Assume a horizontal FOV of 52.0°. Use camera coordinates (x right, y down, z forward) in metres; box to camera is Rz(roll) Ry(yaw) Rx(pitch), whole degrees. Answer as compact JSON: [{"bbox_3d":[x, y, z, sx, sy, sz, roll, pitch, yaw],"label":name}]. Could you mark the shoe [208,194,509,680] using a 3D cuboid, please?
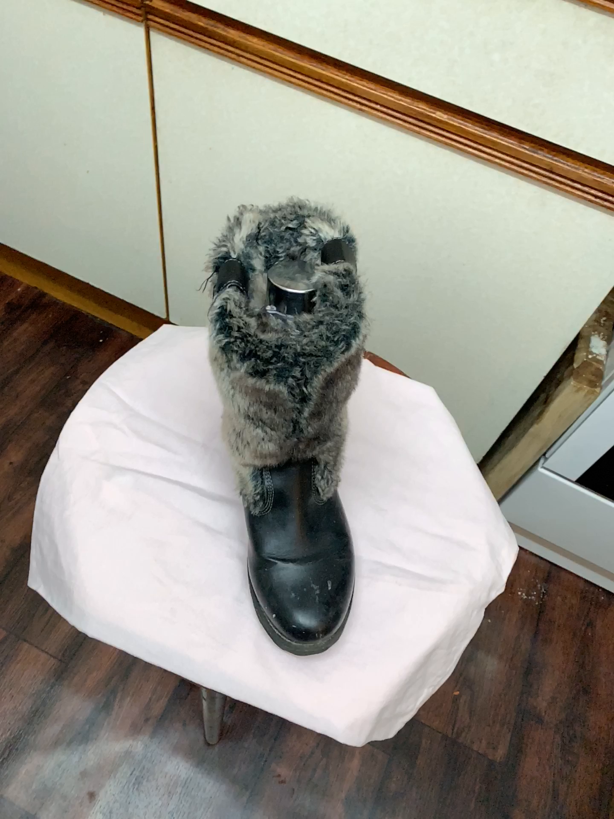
[{"bbox_3d":[0.001,0.026,0.473,0.120,0.238,0.272,-5,58,-13],"label":"shoe"}]
